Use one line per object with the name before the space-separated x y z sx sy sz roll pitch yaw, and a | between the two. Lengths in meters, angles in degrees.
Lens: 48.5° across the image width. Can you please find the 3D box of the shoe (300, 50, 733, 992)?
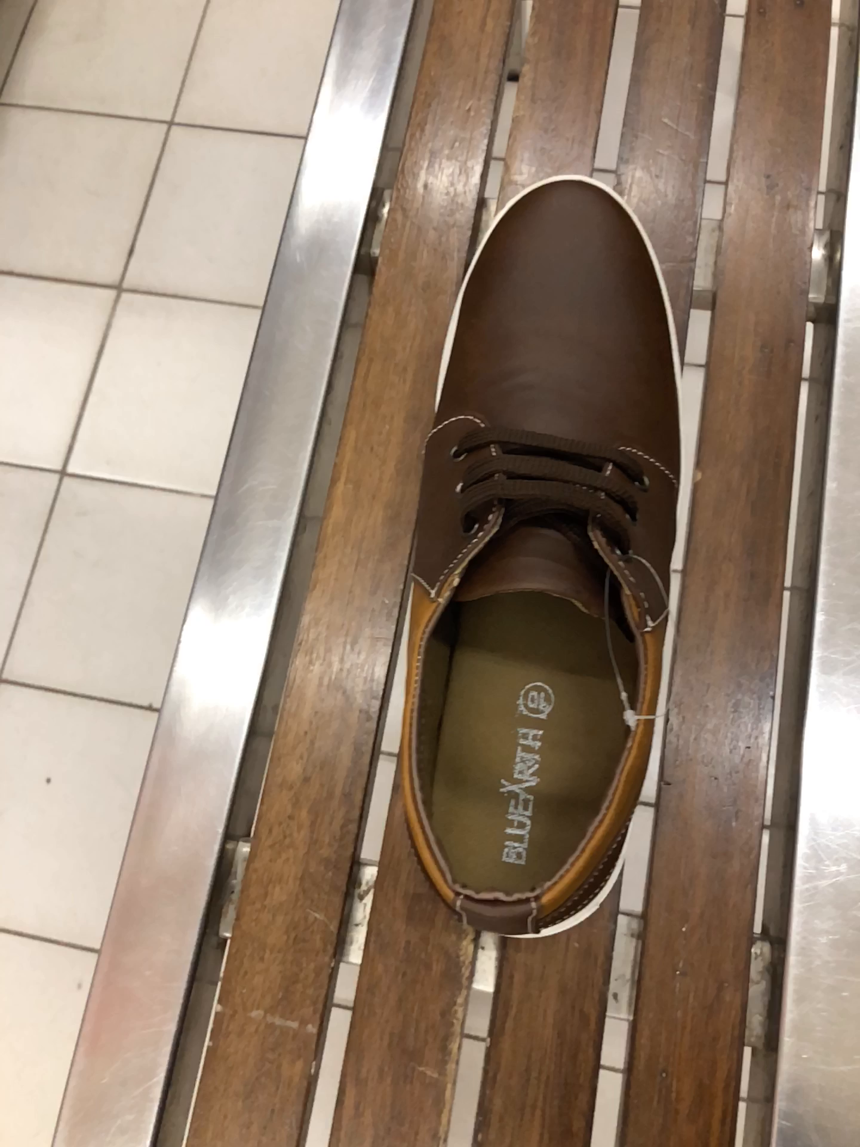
shoe | 0.039 -0.029 0.346 0.100 0.080 0.311 7 75 8
